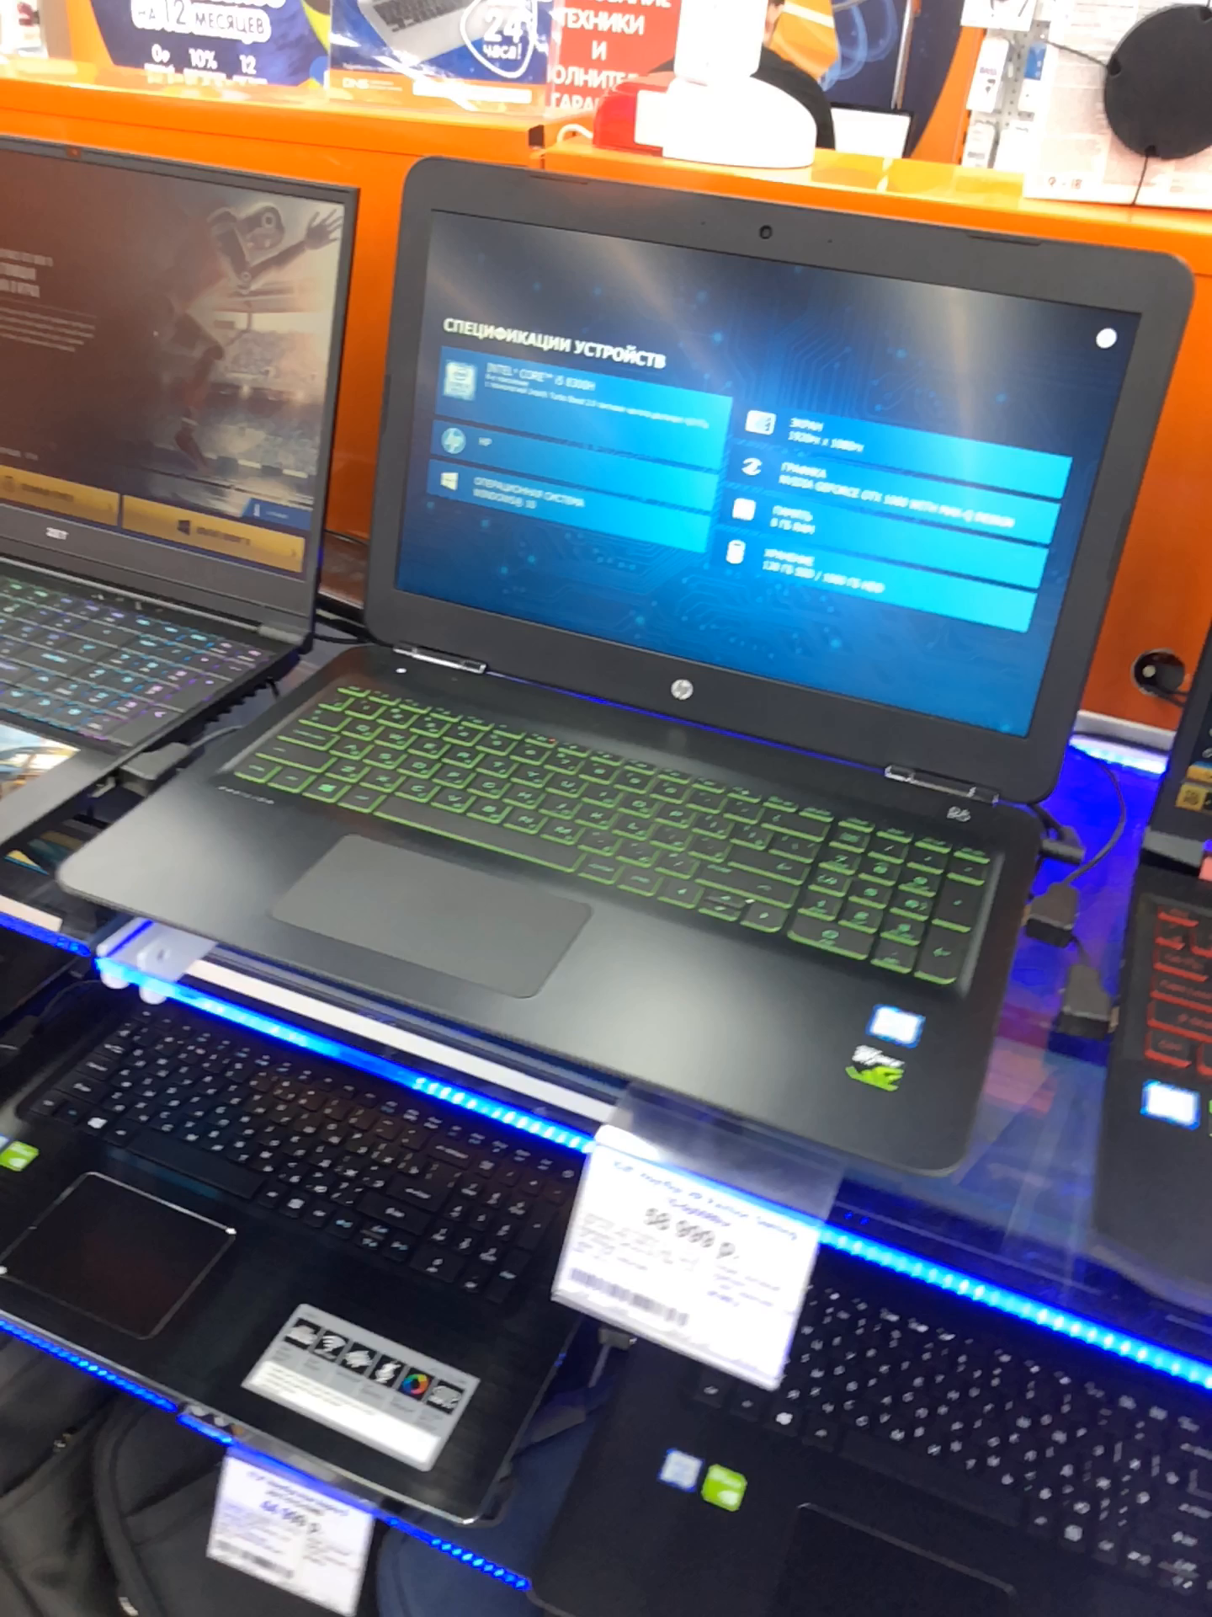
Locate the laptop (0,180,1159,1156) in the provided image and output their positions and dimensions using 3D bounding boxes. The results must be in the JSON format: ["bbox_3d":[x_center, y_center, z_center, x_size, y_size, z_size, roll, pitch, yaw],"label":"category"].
[{"bbox_3d":[0.005,-0.101,0.560,0.357,0.235,0.313,15,33,17],"label":"laptop"}]
